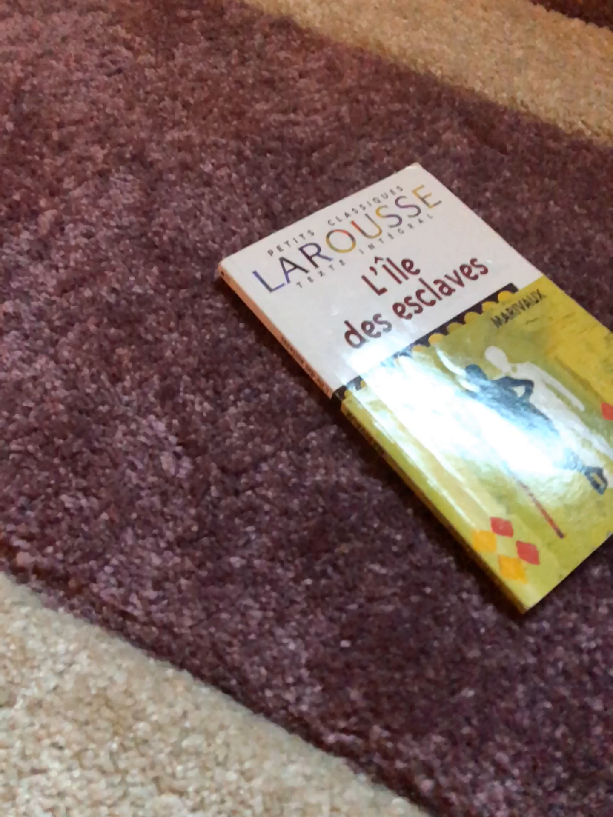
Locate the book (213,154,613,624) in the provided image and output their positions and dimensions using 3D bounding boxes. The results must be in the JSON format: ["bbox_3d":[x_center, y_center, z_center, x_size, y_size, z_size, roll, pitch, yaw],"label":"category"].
[{"bbox_3d":[0.058,-0.022,0.256,0.110,0.020,0.166,-32,67,-24],"label":"book"}]
